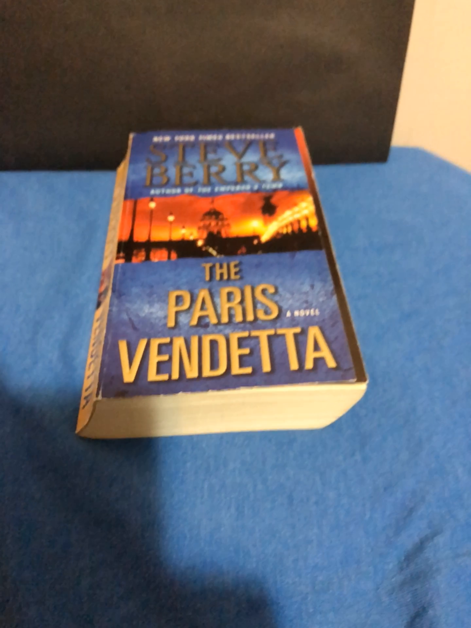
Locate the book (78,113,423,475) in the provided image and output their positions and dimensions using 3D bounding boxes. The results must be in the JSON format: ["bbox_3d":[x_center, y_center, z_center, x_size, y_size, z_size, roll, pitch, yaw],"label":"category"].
[{"bbox_3d":[0.002,-0.025,0.270,0.120,0.050,0.201,3,47,-5],"label":"book"}]
